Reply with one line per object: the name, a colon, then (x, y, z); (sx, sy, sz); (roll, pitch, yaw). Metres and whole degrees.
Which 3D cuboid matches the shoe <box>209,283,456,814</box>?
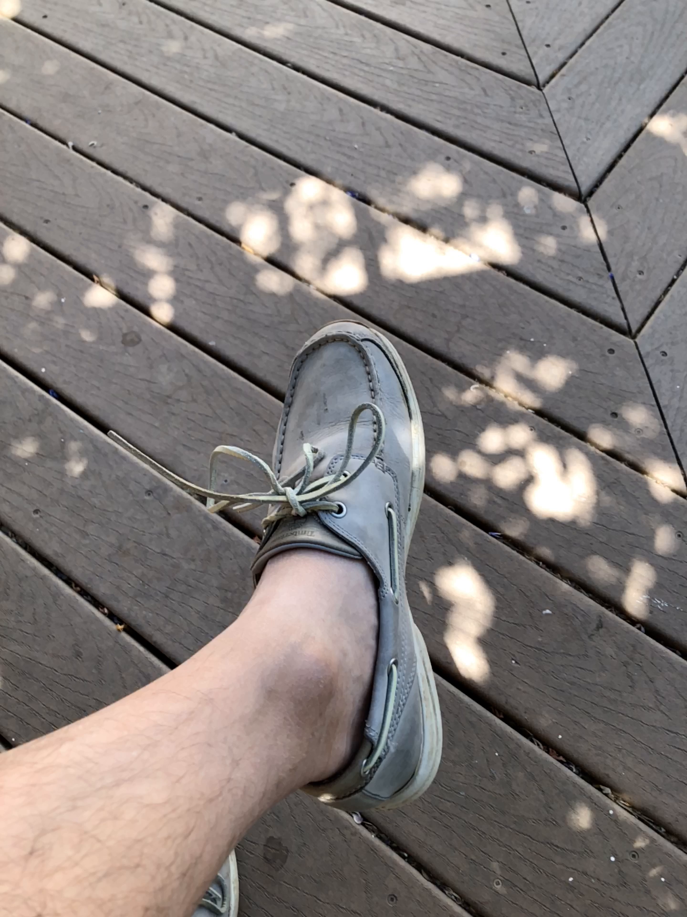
shoe: (-0.006, 0.058, 0.507); (0.110, 0.092, 0.323); (-18, 60, 34)
